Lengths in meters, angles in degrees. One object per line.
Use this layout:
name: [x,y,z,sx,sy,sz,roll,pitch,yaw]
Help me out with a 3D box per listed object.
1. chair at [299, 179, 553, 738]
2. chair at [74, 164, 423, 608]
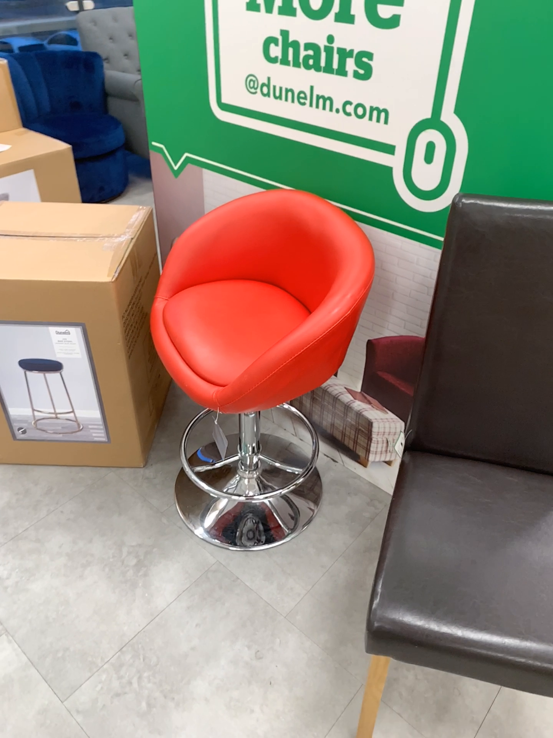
chair: [0.348,0.222,0.937,0.504,0.852,0.535,8,38,9]
chair: [-0.084,0.017,1.303,0.462,0.744,0.538,-20,42,-25]
